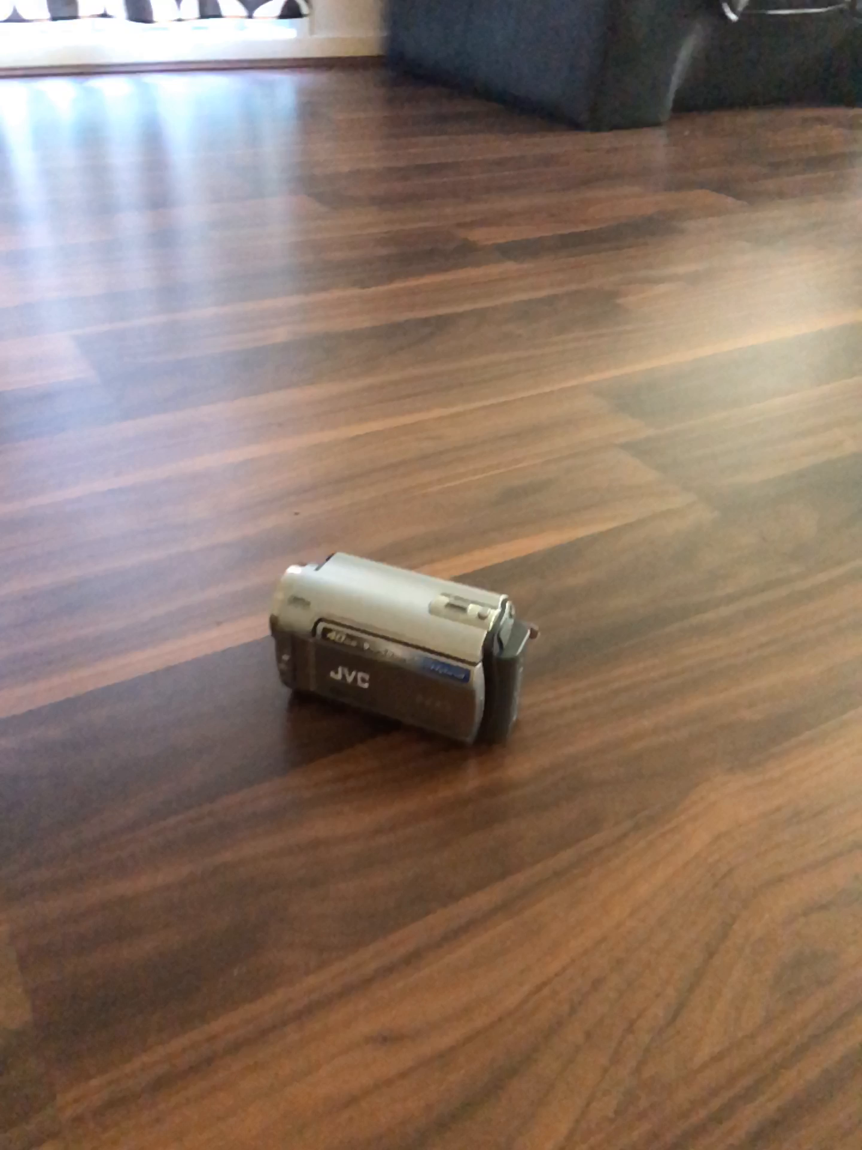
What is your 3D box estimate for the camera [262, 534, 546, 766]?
[{"bbox_3d":[-0.013,0.034,0.463,0.120,0.060,0.060,15,36,19],"label":"camera"}]
